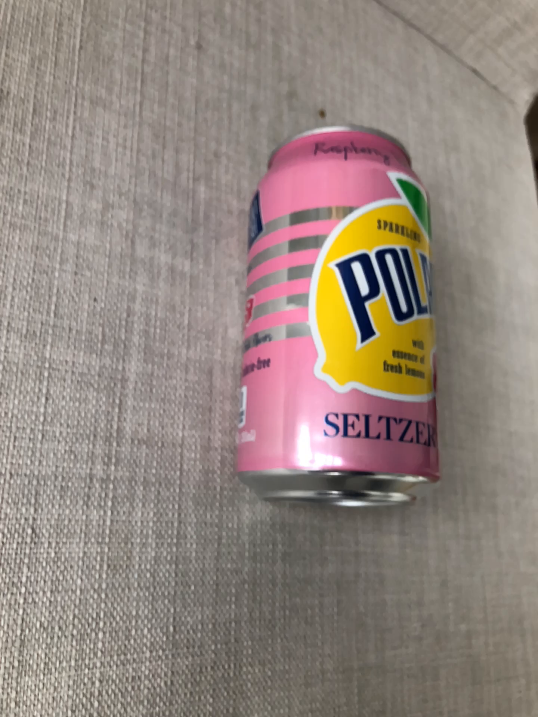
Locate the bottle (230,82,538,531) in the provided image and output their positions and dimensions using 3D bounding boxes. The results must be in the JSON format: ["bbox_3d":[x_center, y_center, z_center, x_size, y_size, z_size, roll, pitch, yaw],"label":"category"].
[{"bbox_3d":[0.037,-0.007,0.203,0.070,0.065,0.122,12,72,-37],"label":"bottle"}]
